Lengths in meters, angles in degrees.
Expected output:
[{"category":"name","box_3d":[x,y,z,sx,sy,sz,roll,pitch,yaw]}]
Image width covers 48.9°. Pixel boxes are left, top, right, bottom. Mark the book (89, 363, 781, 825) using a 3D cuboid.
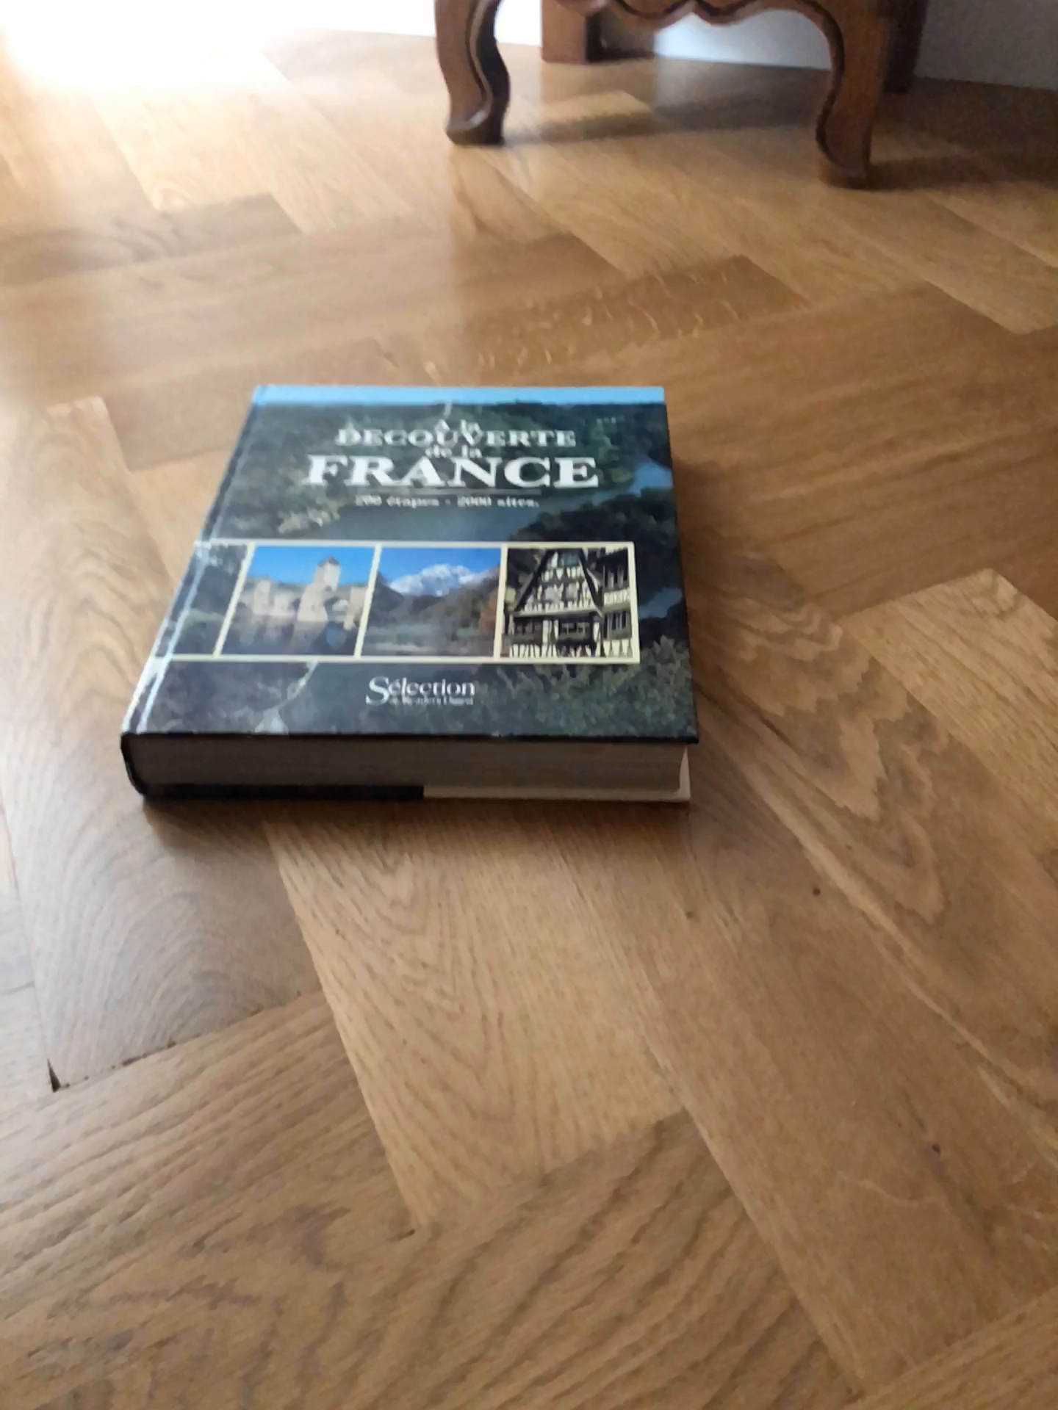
[{"category":"book","box_3d":[-0.029,-0.071,0.538,0.250,0.040,0.292,1,44,2]}]
